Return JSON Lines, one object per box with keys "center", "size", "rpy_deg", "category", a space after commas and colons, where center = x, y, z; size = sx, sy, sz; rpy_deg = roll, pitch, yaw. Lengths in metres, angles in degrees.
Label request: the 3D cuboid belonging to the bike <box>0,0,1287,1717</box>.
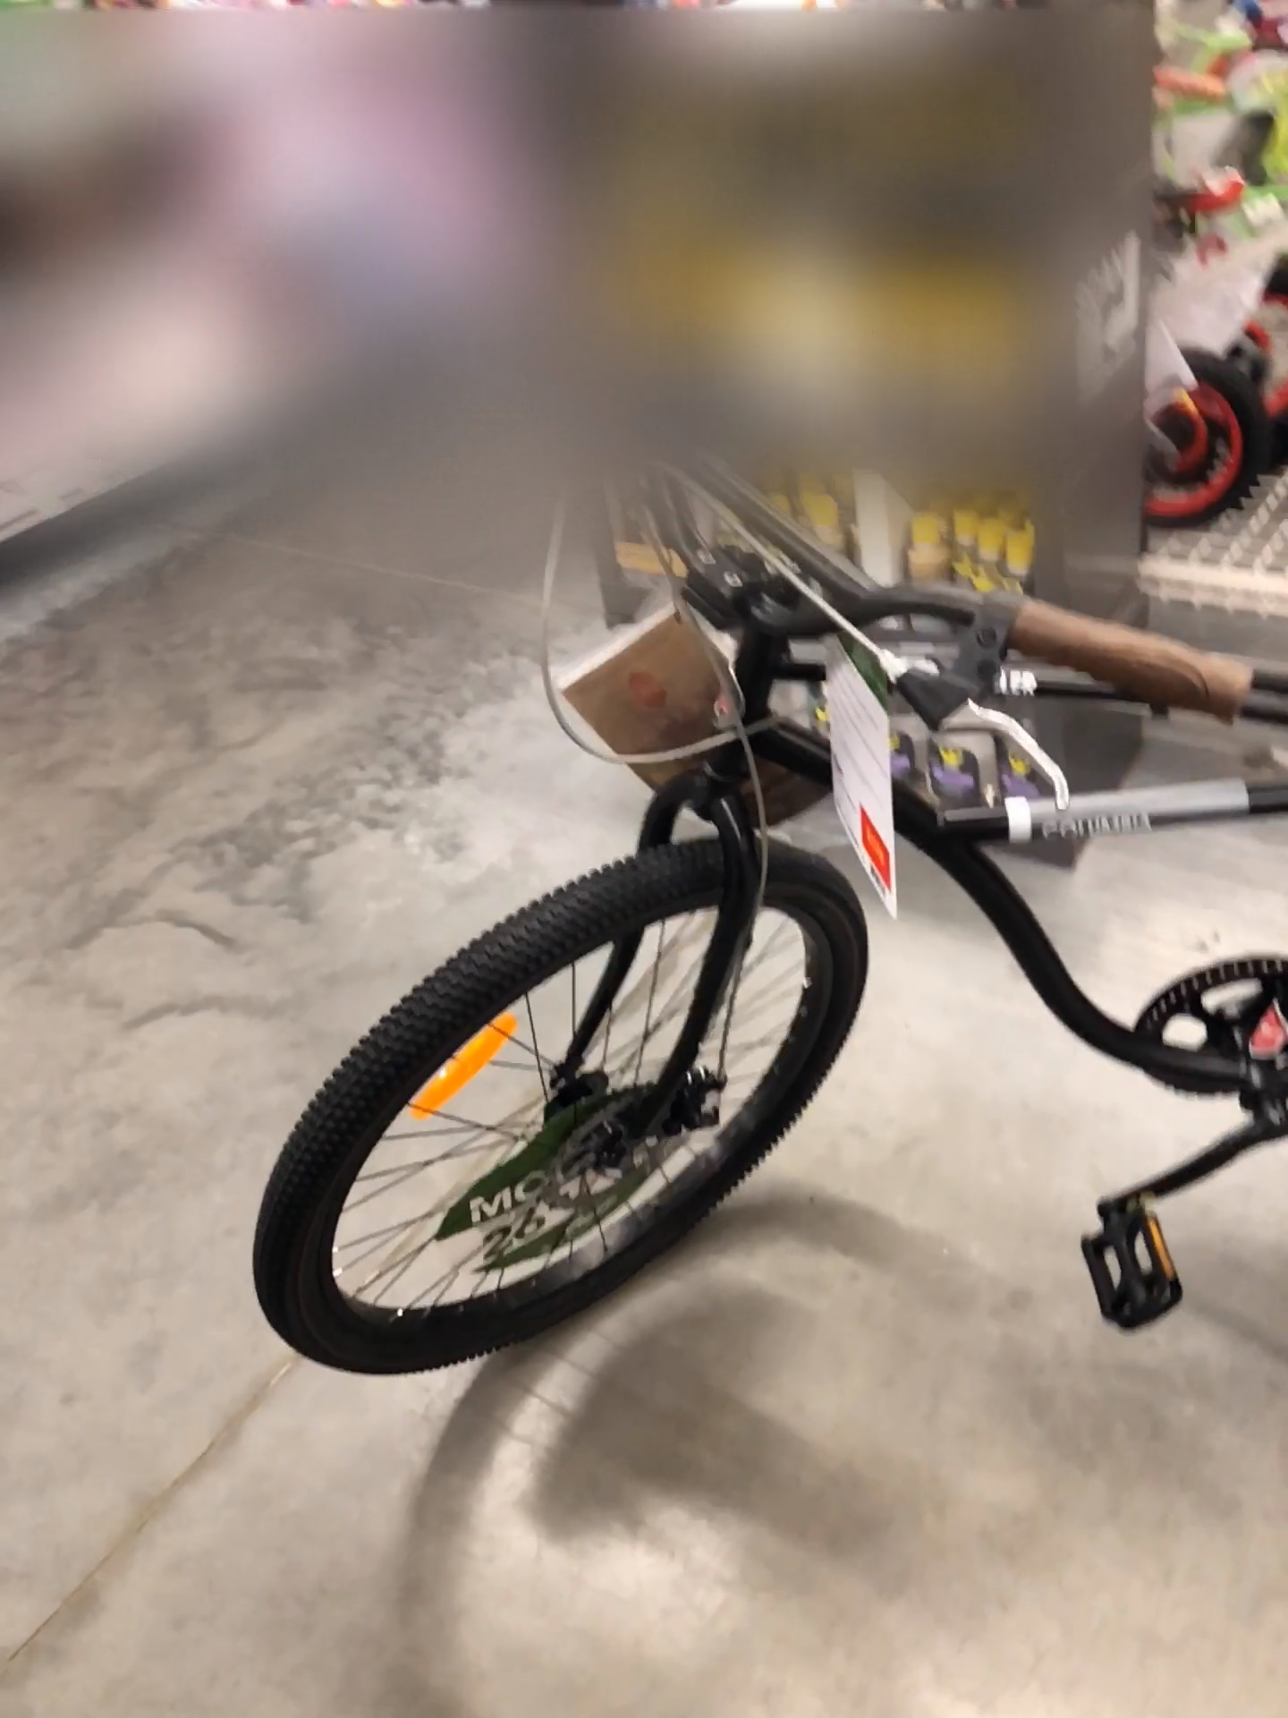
{"center": [0.473, 0.026, 0.984], "size": [1.581, 0.975, 0.657], "rpy_deg": [-6, 36, -2], "category": "bike"}
